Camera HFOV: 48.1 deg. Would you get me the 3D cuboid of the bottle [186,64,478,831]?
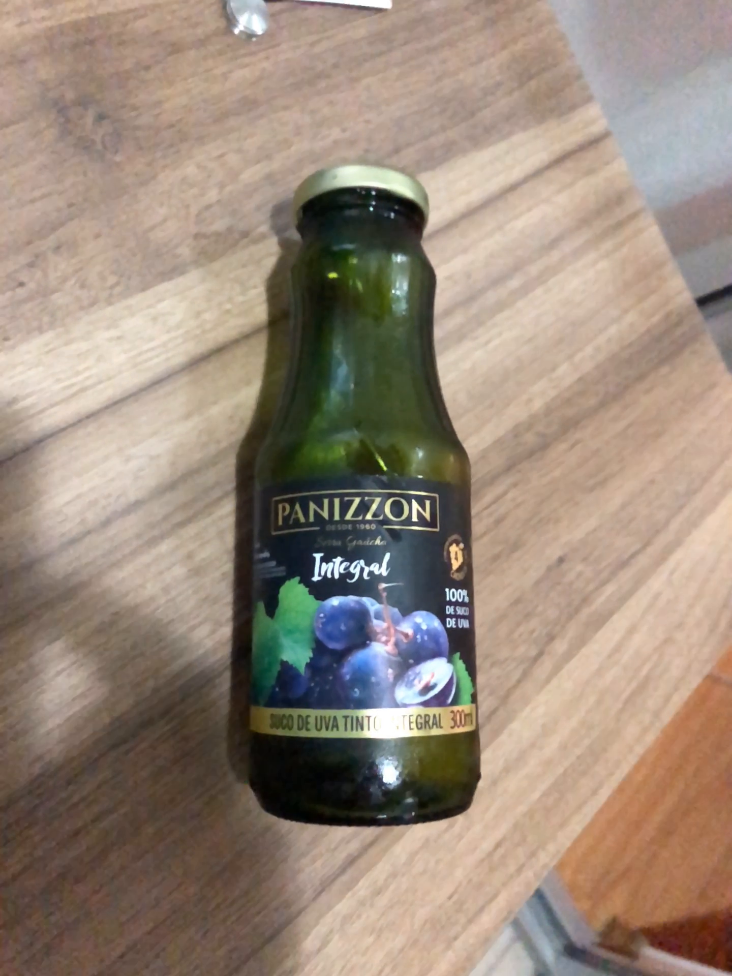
[{"bbox_3d":[-0.005,-0.012,0.246,0.070,0.070,0.200,-1,80,6],"label":"bottle"}]
